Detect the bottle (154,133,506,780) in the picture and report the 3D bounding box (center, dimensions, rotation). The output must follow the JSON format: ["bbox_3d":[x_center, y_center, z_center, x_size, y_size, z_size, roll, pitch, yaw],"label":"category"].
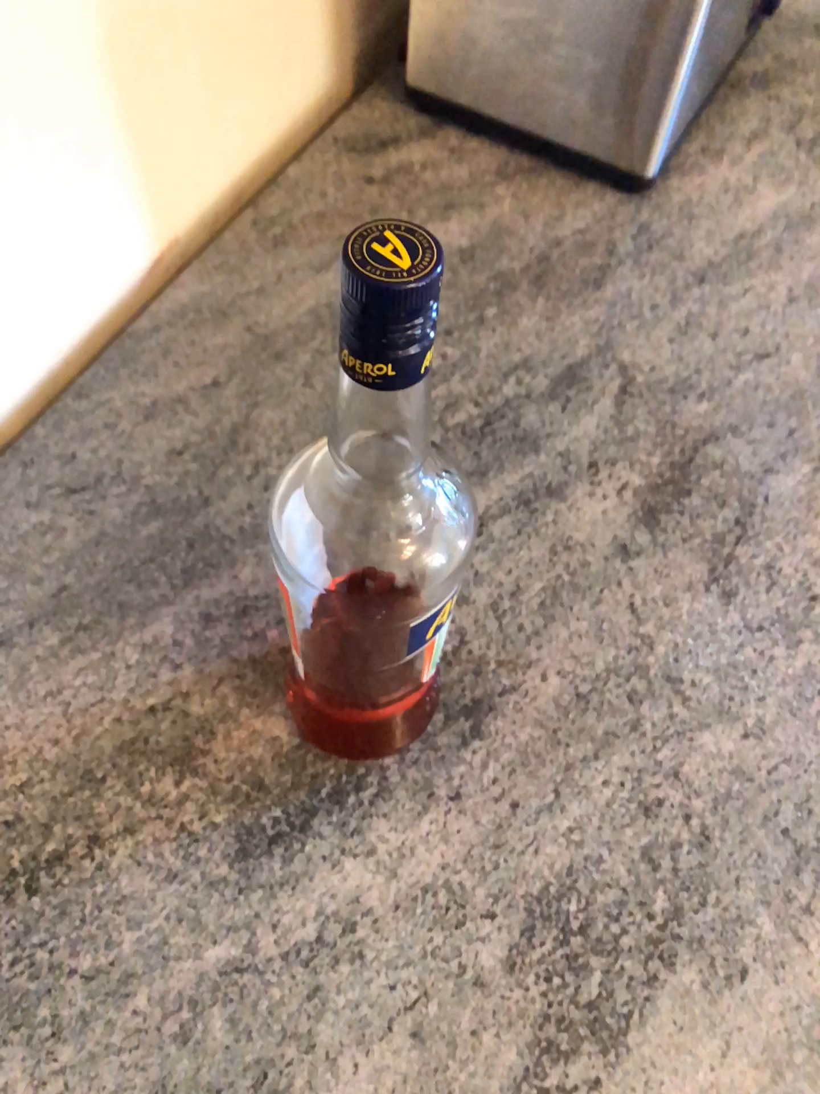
[{"bbox_3d":[-0.027,0.000,0.401,0.090,0.328,0.090,2,57,-3],"label":"bottle"}]
